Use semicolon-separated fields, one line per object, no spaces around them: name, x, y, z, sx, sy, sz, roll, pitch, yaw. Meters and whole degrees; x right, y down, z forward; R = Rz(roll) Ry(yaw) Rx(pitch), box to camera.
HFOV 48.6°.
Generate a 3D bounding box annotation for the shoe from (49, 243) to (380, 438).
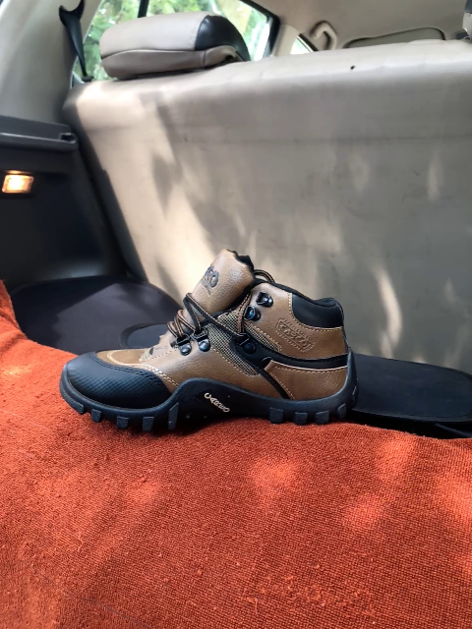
shoe;-0.020;0.014;0.493;0.270;0.150;0.110;-1;14;-10
